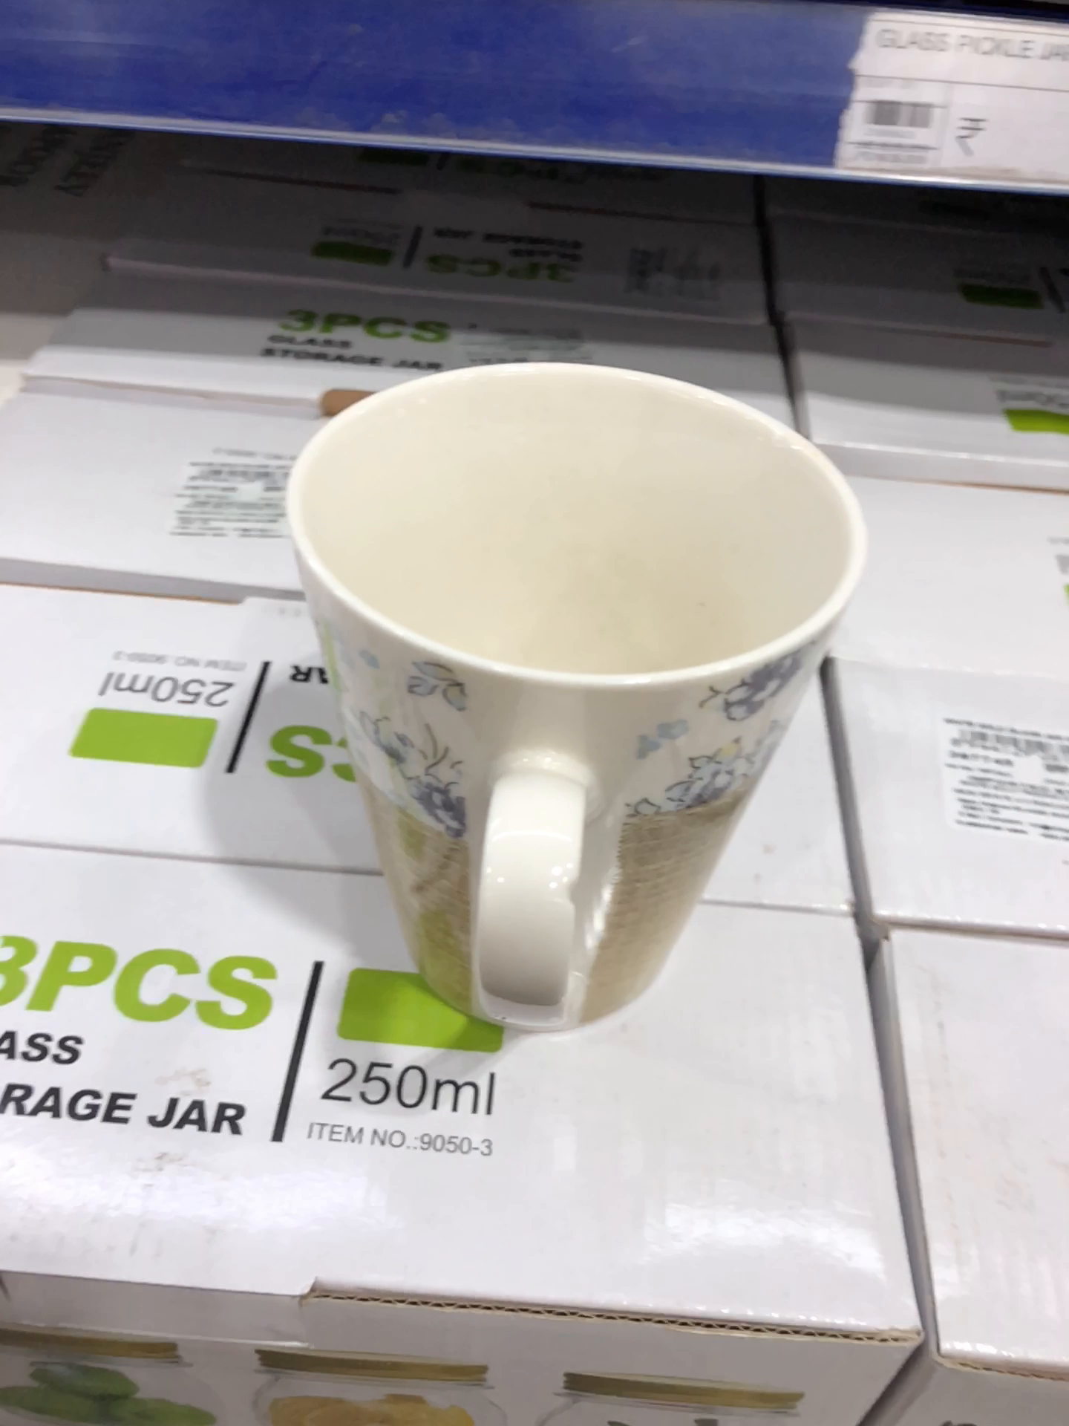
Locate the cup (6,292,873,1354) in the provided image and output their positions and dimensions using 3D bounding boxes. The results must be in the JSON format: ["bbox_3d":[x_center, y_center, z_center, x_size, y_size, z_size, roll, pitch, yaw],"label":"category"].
[{"bbox_3d":[-0.001,0.011,0.202,0.090,0.100,0.131,10,45,6],"label":"cup"}]
